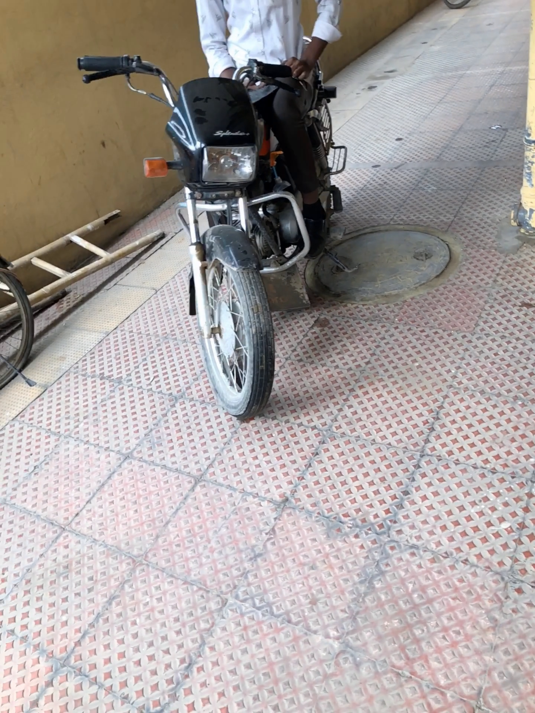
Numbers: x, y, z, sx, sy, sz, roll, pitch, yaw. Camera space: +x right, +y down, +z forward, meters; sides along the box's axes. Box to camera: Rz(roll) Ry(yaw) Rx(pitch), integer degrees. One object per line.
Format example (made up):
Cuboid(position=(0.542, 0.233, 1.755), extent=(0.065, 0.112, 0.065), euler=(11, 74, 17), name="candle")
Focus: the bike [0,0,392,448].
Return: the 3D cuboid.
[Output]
Cuboid(position=(-0.018, -0.636, 2.093), extent=(0.758, 0.974, 1.608), euler=(-2, 40, 17), name="bike")
